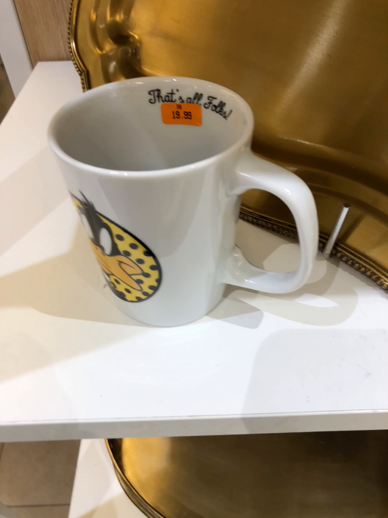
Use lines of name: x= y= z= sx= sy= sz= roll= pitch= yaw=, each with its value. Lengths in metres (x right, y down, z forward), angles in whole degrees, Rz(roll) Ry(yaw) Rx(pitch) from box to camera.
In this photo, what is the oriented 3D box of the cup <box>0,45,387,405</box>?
cup: x=0.000 y=-0.021 z=0.187 sx=0.120 sy=0.089 sz=0.091 roll=19 pitch=49 yaw=20
